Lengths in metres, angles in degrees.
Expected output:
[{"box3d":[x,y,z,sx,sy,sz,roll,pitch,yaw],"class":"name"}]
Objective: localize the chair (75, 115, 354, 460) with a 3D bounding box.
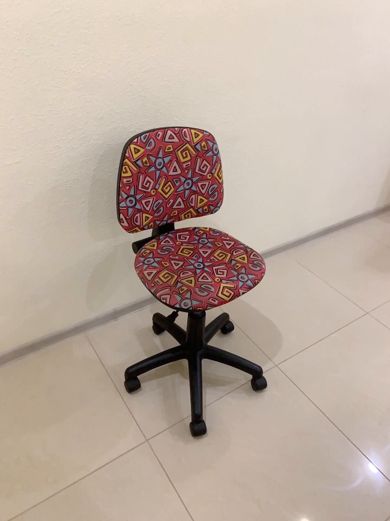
[{"box3d":[0.013,0.071,1.347,0.551,0.885,0.542,-20,43,-29],"class":"chair"}]
